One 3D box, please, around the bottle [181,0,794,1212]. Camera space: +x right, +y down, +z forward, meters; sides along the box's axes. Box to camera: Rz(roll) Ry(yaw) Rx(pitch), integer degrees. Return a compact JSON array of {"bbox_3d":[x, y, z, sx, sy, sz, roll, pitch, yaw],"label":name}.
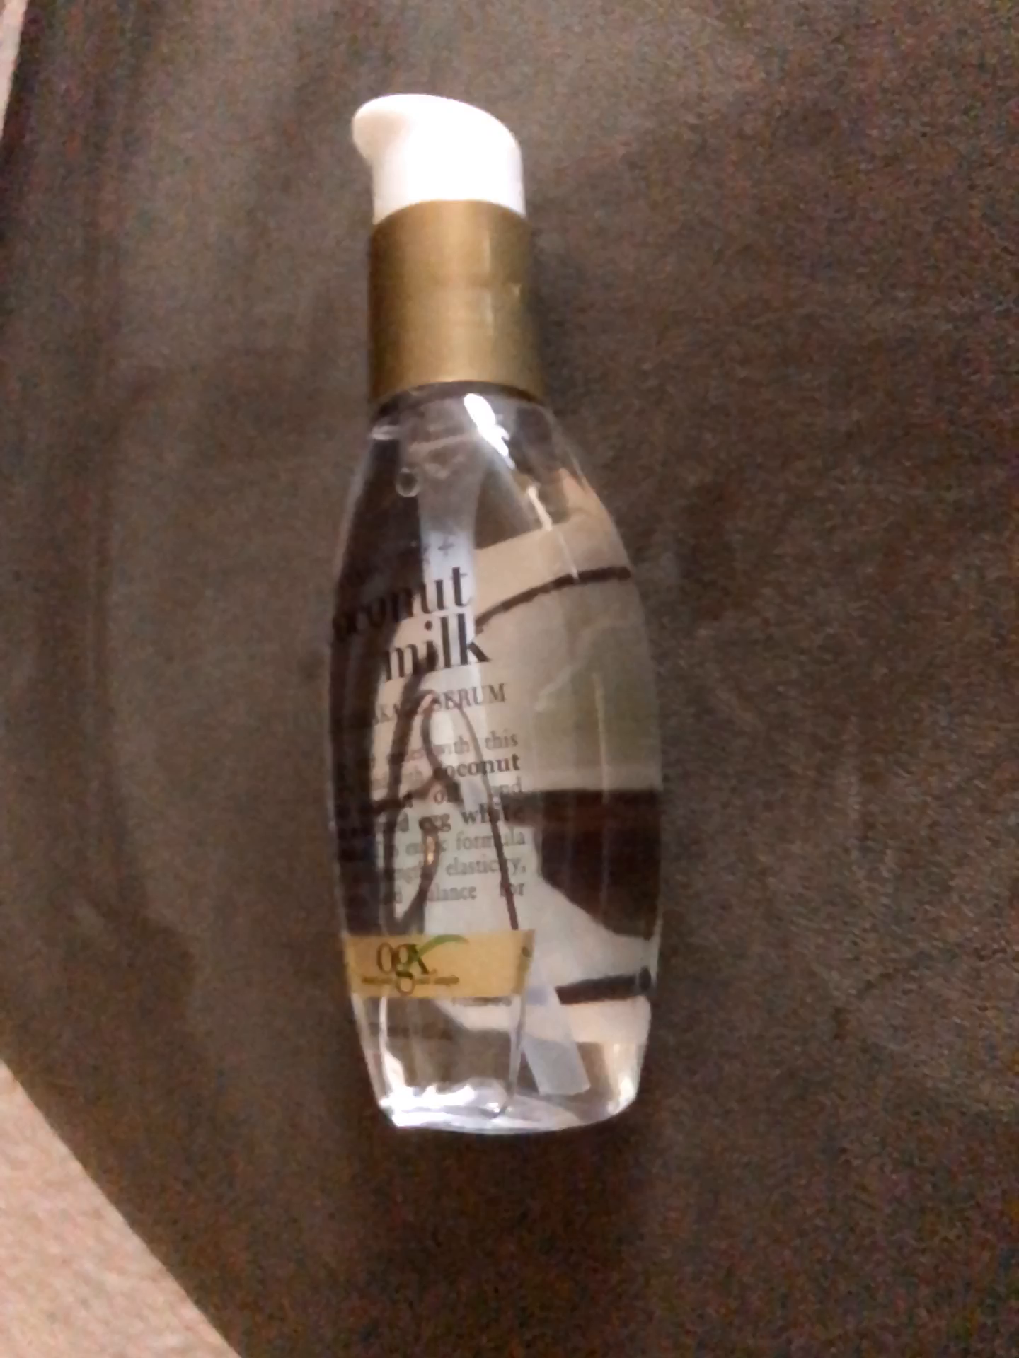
[{"bbox_3d":[-0.007,-0.022,0.170,0.070,0.040,0.170,-9,81,36],"label":"bottle"}]
